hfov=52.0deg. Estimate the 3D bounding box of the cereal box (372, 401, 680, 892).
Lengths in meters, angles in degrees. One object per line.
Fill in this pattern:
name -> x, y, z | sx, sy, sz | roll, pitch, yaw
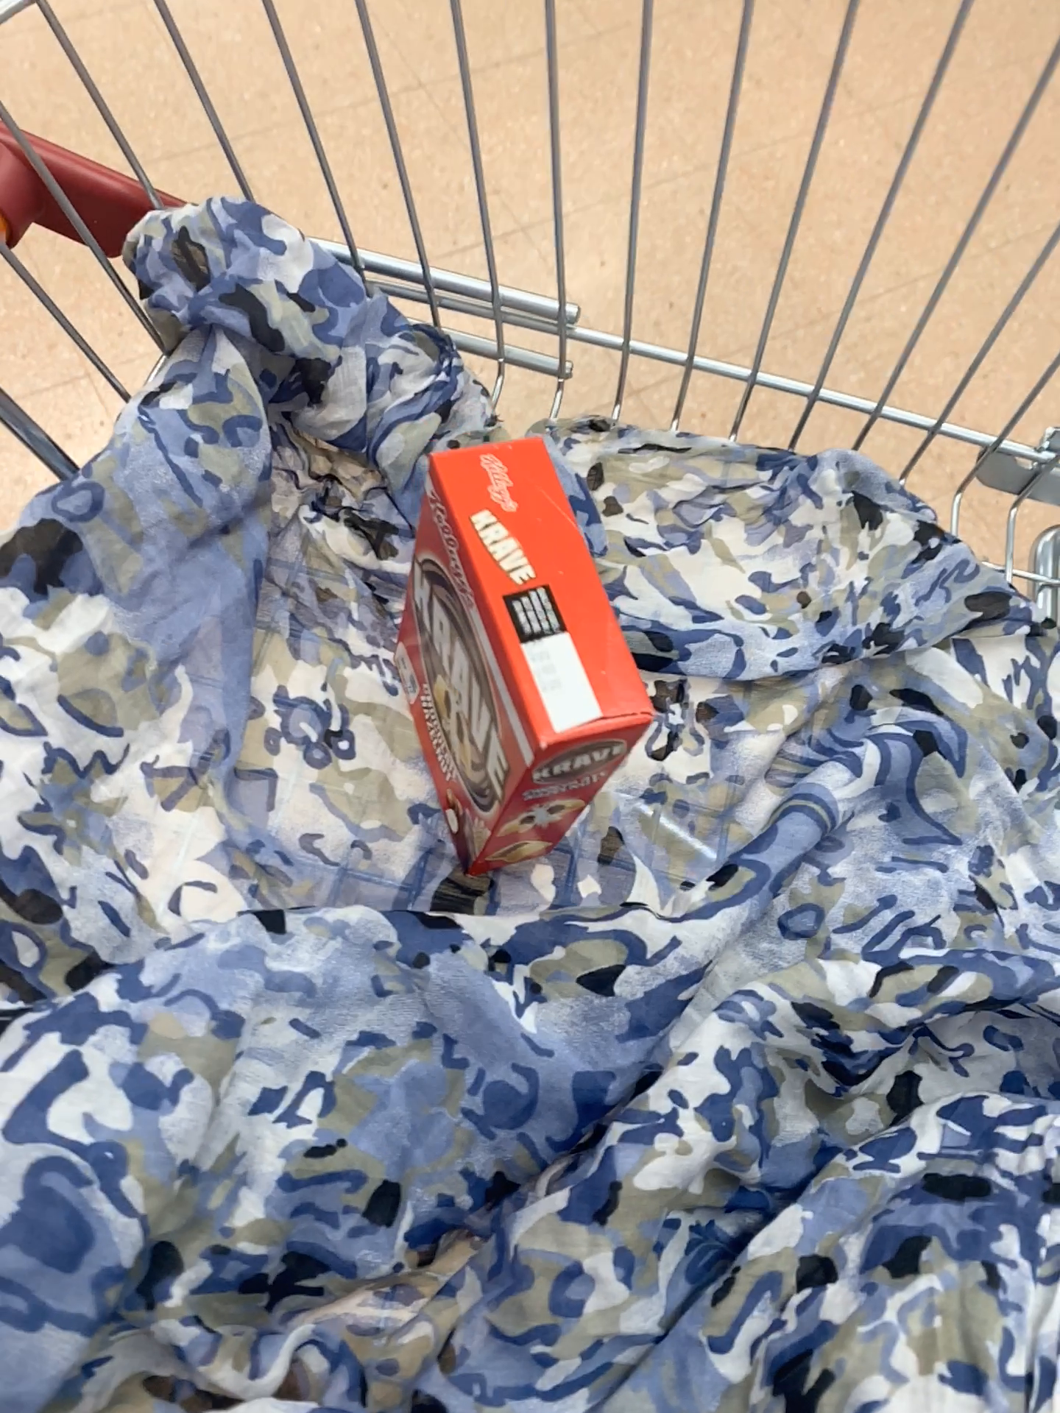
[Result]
cereal box -> -0.012, -0.008, 0.338 | 0.040, 0.149, 0.090 | -14, 71, -18
